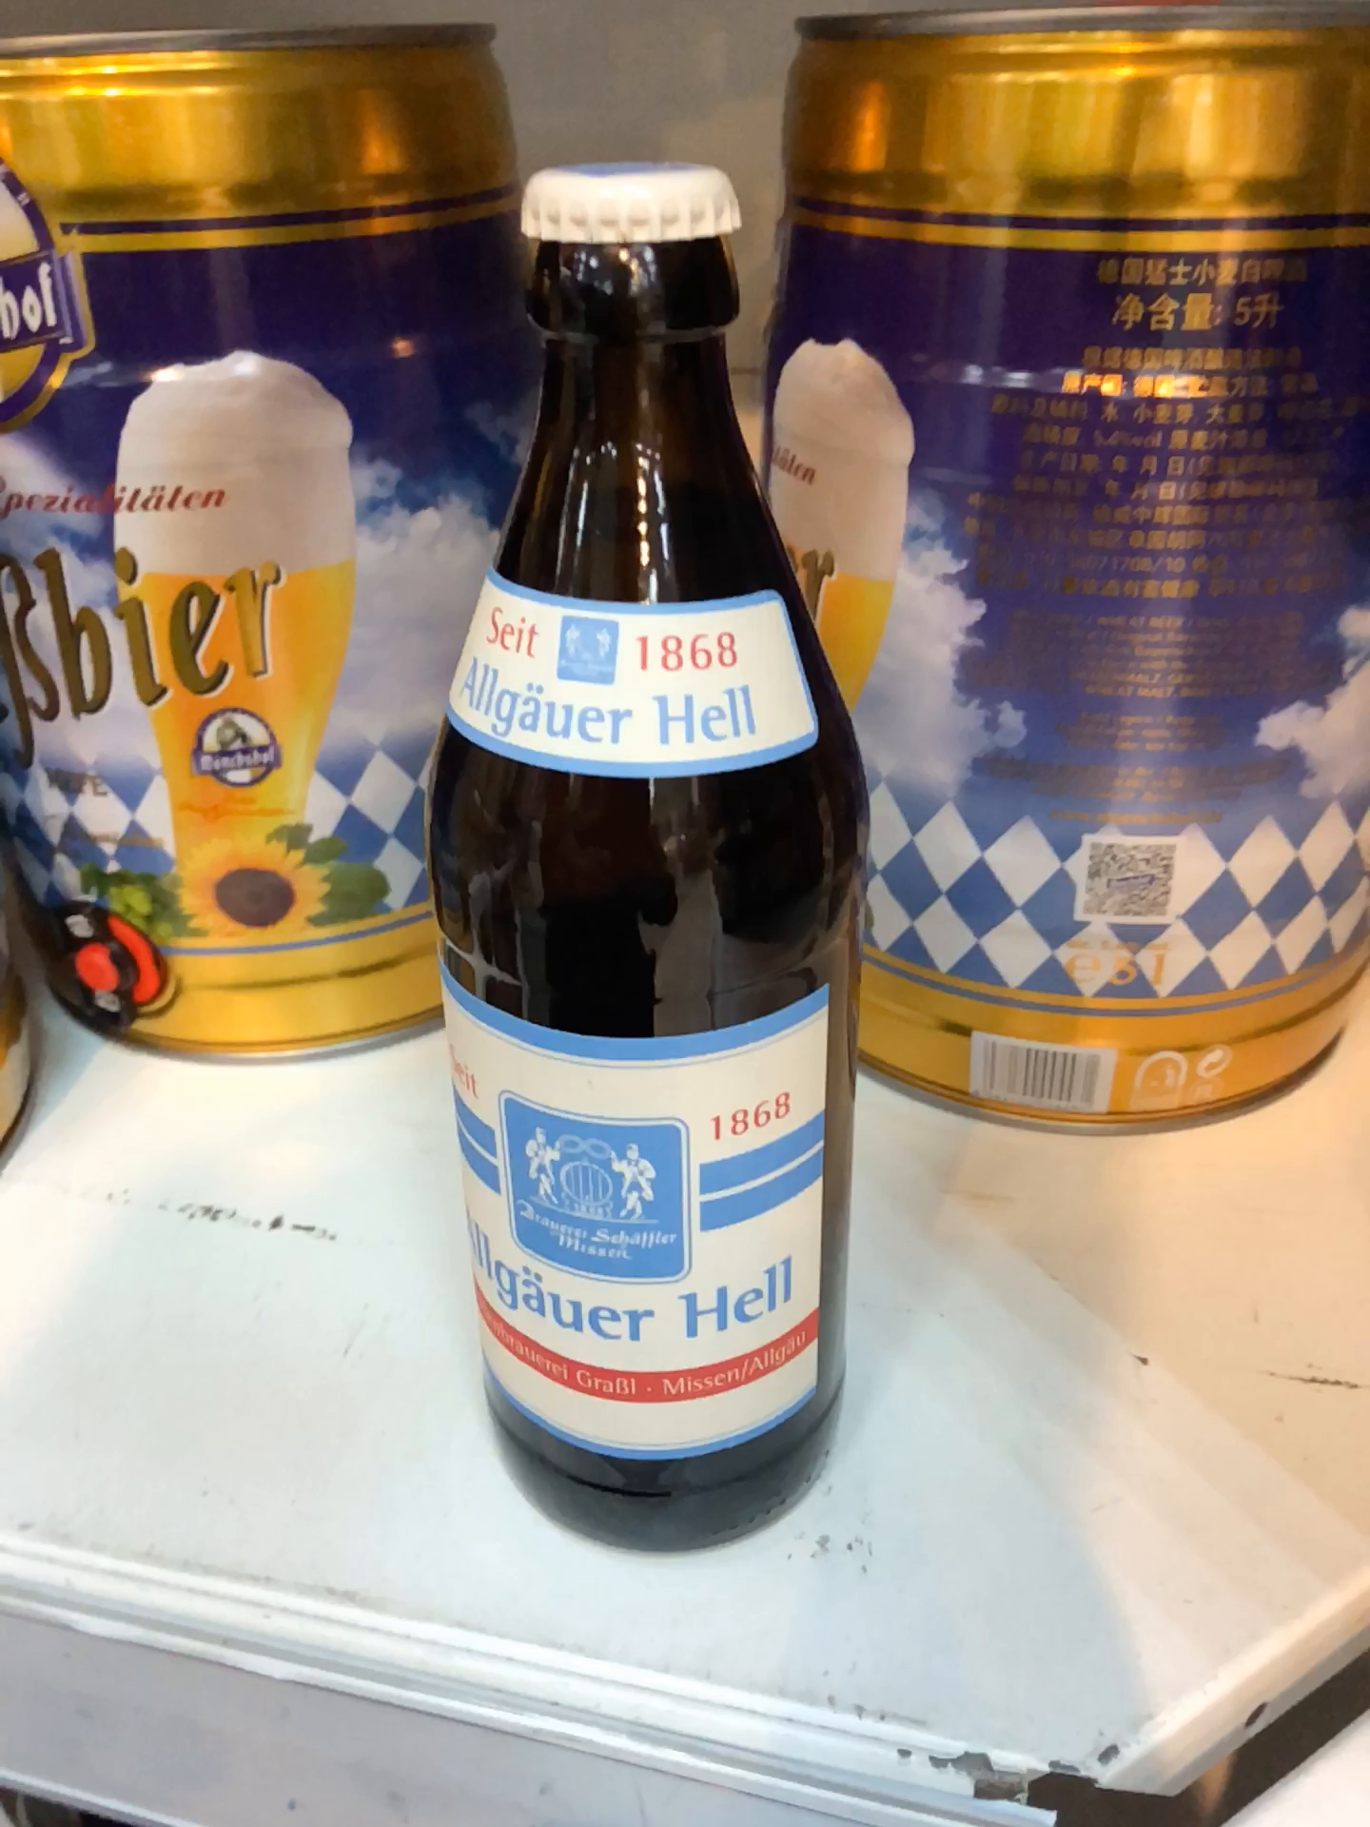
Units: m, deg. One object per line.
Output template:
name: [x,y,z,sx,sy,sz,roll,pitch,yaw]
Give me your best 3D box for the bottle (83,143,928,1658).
bottle: [-0.012,0.004,0.241,0.080,0.219,0.080,-2,30,1]
